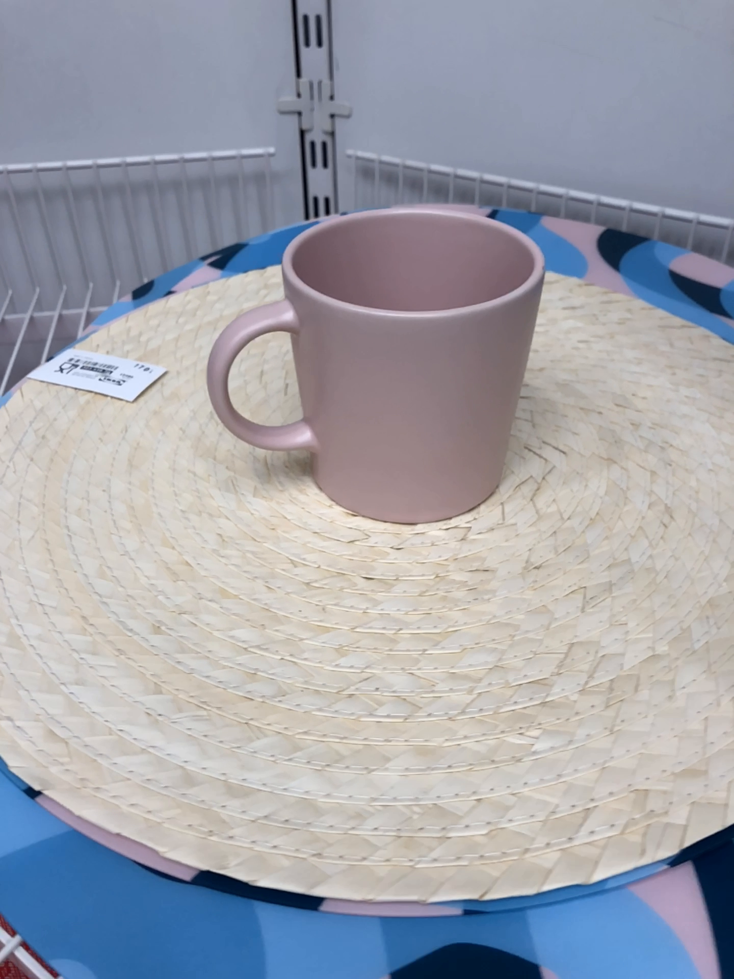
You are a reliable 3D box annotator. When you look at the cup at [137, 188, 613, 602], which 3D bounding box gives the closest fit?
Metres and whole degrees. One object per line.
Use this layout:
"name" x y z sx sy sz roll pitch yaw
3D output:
"cup" 0.000 -0.043 0.305 0.130 0.090 0.100 -17 39 -21
